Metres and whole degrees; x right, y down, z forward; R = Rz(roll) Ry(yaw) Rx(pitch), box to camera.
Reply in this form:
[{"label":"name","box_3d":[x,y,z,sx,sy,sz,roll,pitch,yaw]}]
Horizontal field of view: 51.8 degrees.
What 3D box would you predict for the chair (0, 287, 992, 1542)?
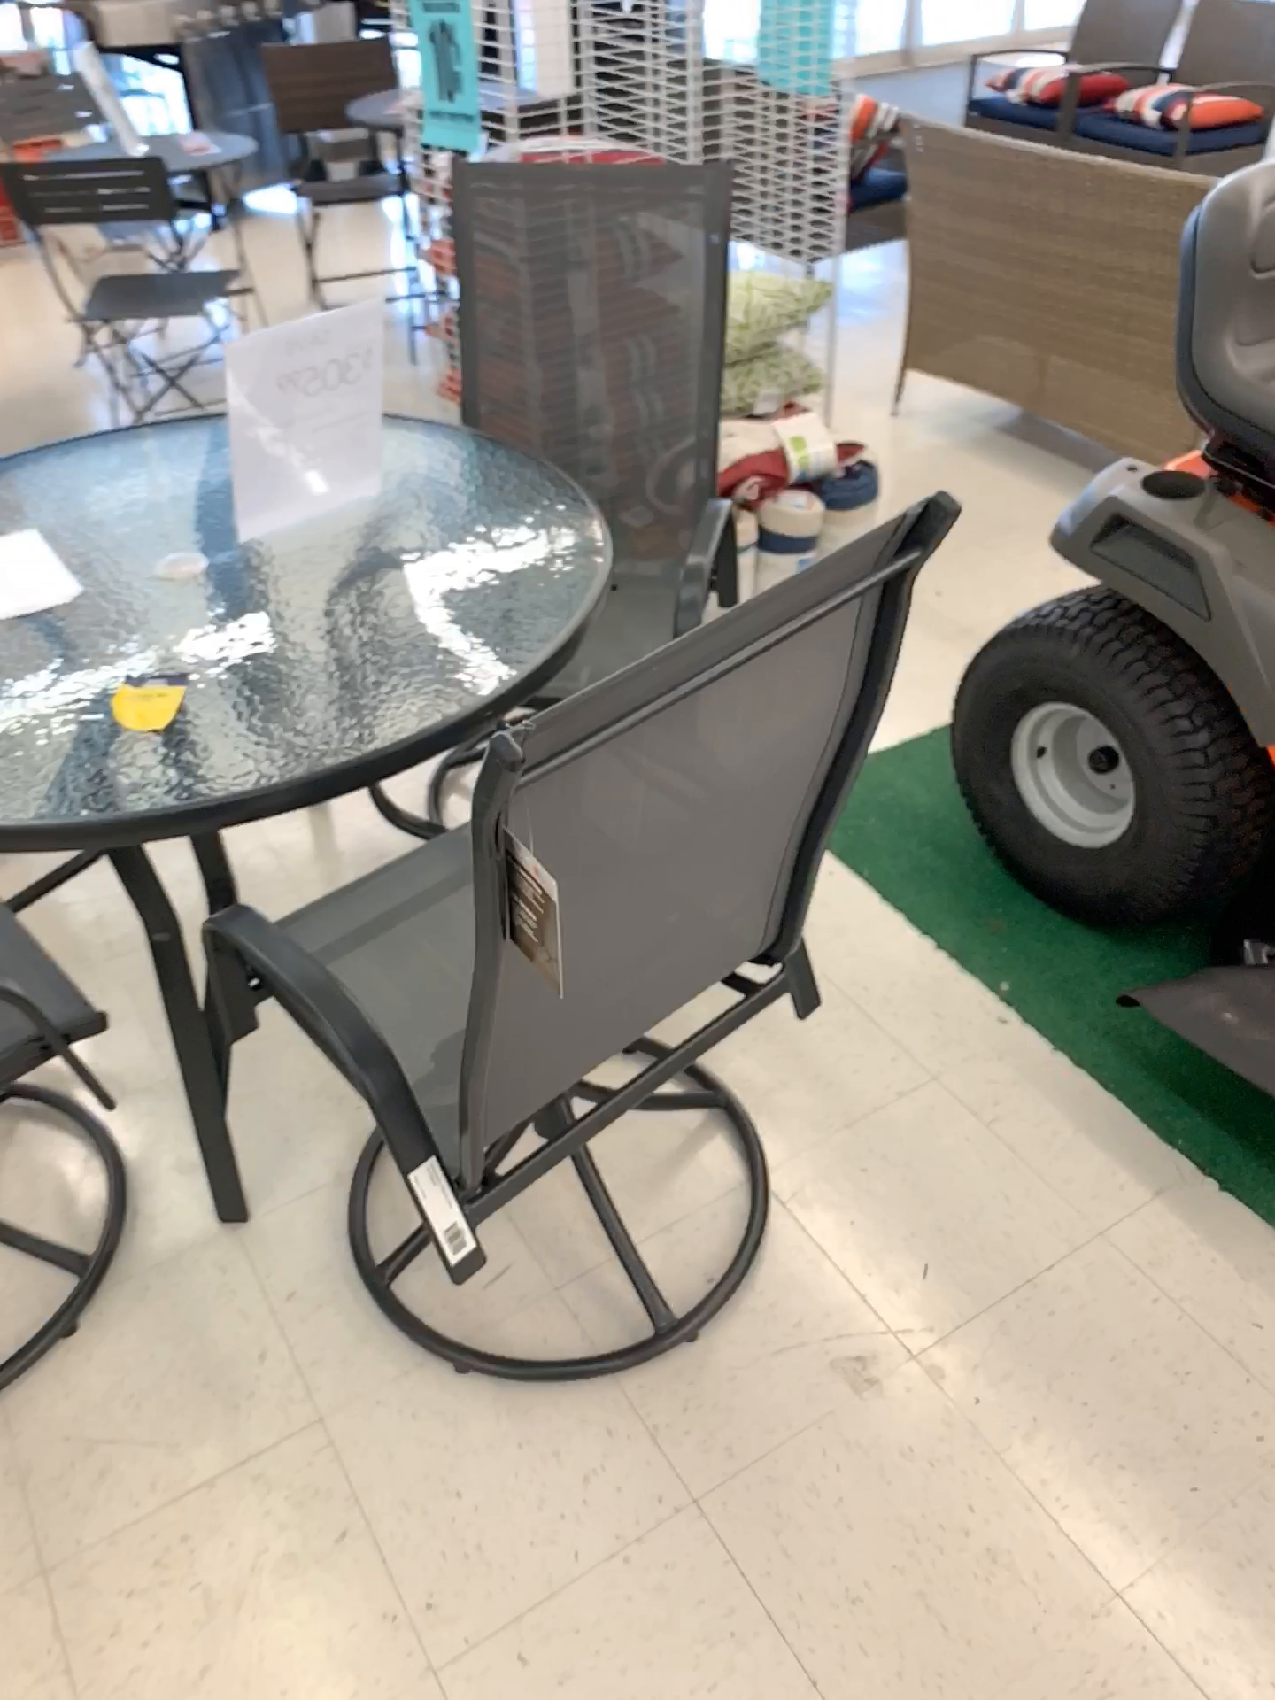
[{"label":"chair","box_3d":[-0.134,0.049,1.366,0.581,0.975,0.642,-33,47,-33]}]
